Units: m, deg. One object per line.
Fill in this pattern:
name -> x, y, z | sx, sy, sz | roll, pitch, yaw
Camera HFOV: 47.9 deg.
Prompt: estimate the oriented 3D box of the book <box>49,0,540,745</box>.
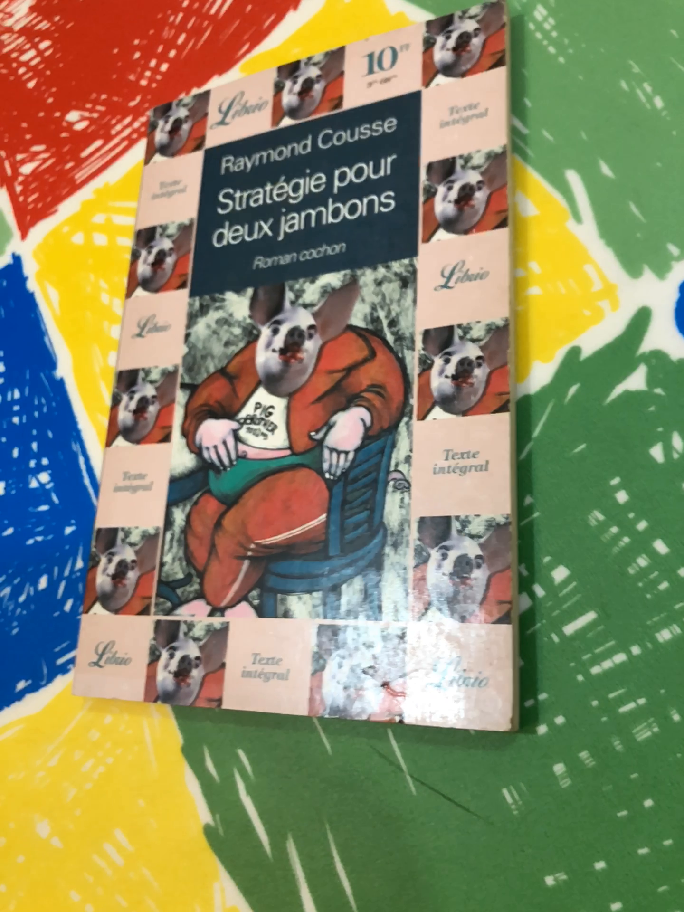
book -> -0.014, -0.030, 0.216 | 0.130, 0.014, 0.197 | -4, 73, 25
